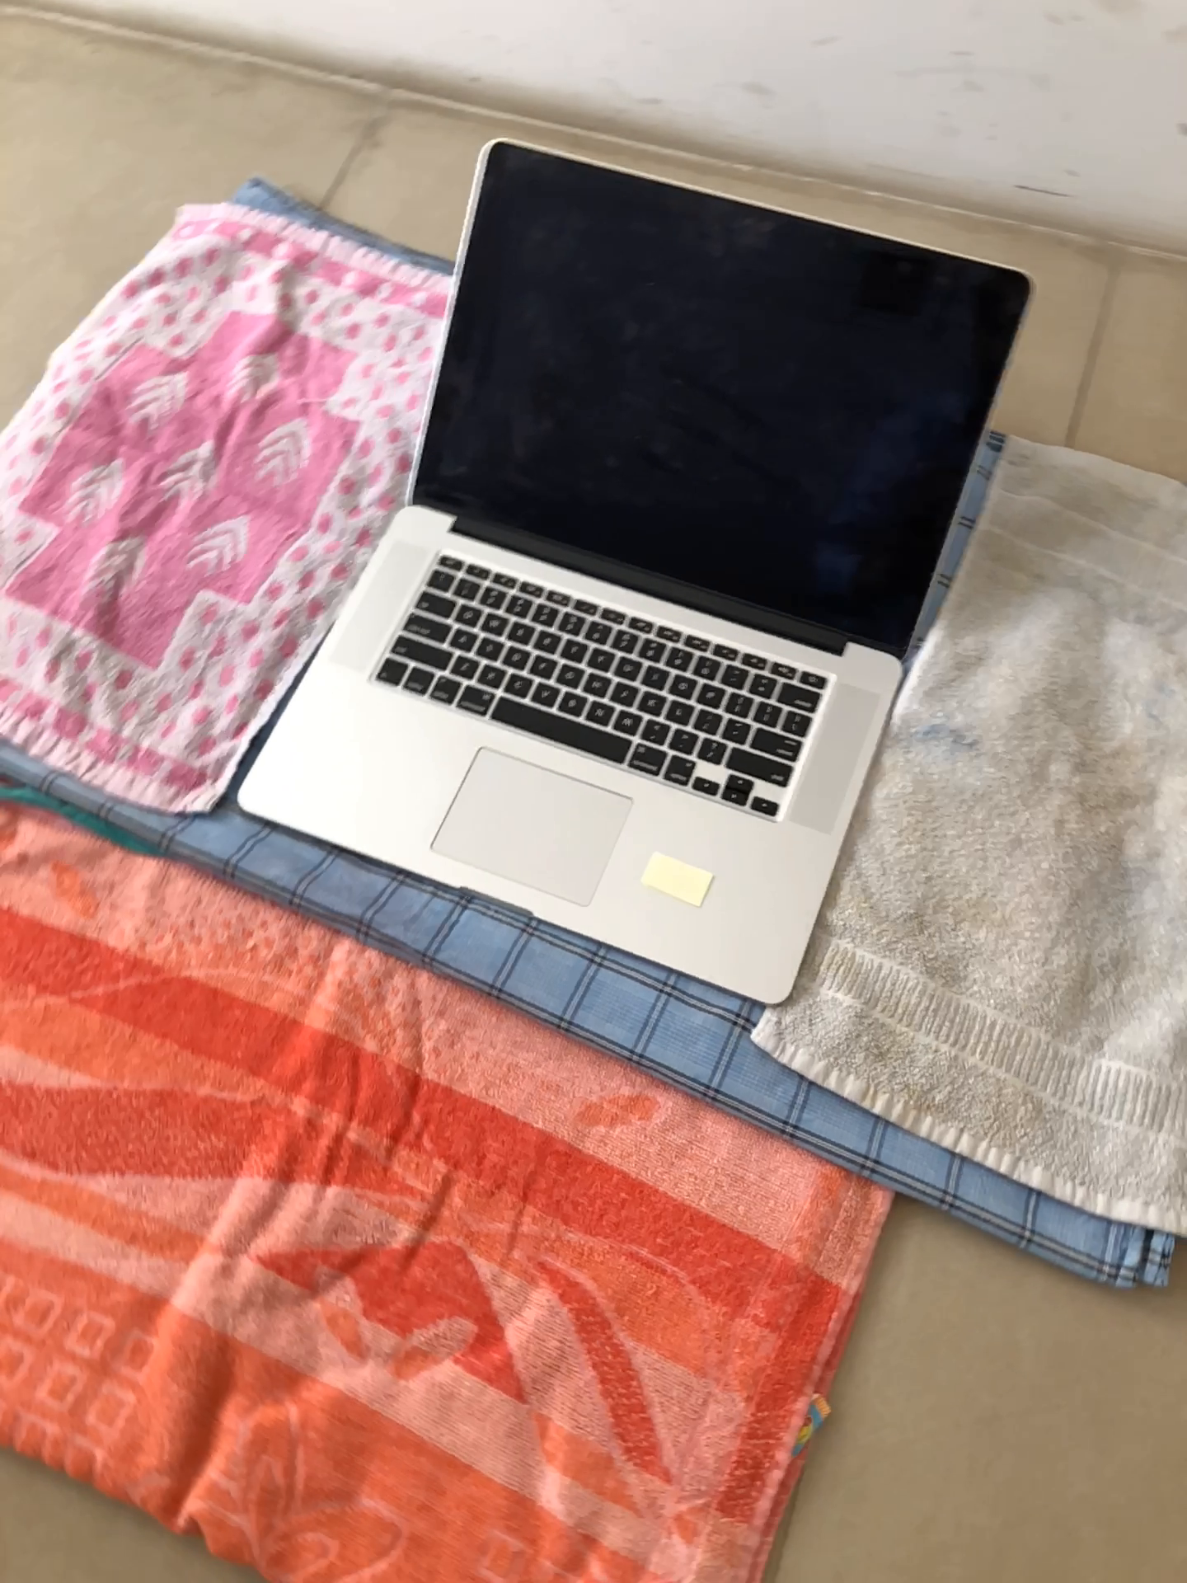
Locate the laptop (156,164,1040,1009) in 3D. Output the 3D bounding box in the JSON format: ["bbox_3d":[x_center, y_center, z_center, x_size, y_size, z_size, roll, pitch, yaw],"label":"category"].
[{"bbox_3d":[0.020,-0.136,0.767,0.343,0.144,0.414,19,68,13],"label":"laptop"}]
